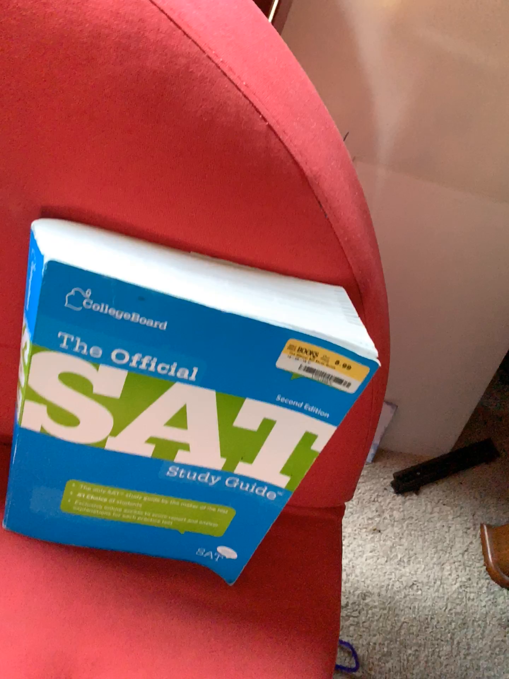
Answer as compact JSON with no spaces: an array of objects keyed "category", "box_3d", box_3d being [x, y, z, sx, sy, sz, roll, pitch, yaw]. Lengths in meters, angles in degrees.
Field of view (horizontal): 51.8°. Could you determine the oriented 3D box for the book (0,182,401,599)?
[{"category":"book","box_3d":[-0.066,0.057,0.383,0.230,0.259,0.080,16,30,-10]}]
